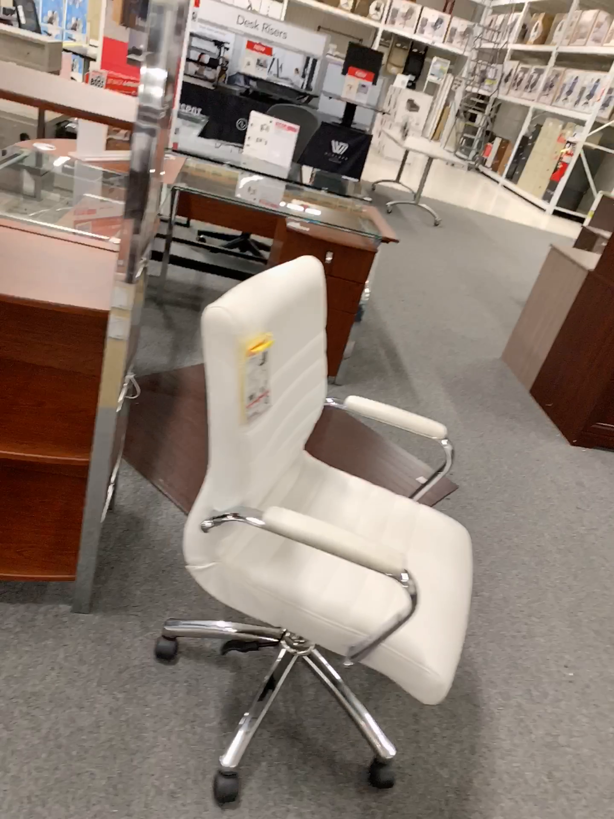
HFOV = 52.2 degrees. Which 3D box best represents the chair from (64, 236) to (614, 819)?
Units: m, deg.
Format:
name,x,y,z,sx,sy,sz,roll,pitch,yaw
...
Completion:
name,x,y,z,sx,sy,sz,roll,pitch,yaw
chair,0.045,0.257,1.239,0.680,0.906,0.623,23,29,11
